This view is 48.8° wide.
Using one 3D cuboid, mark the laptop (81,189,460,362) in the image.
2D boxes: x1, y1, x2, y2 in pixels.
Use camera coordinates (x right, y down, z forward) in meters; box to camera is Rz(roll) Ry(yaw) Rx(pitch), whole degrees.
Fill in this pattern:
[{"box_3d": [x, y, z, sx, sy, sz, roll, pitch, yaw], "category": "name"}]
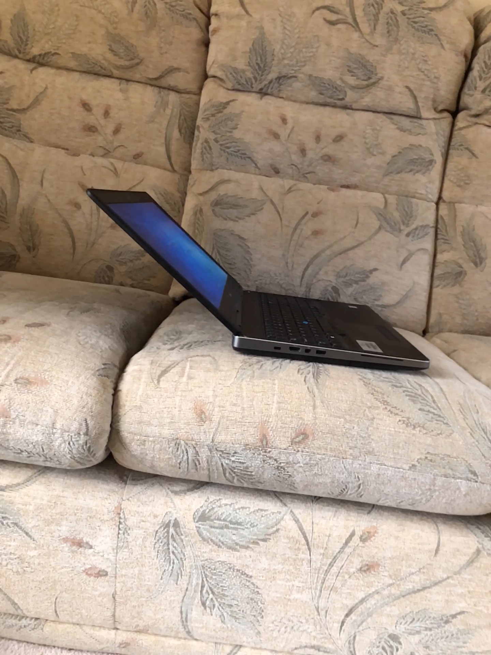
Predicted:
[{"box_3d": [0.021, -0.103, 0.840, 0.451, 0.157, 0.356, 7, 15, -1], "category": "laptop"}]
